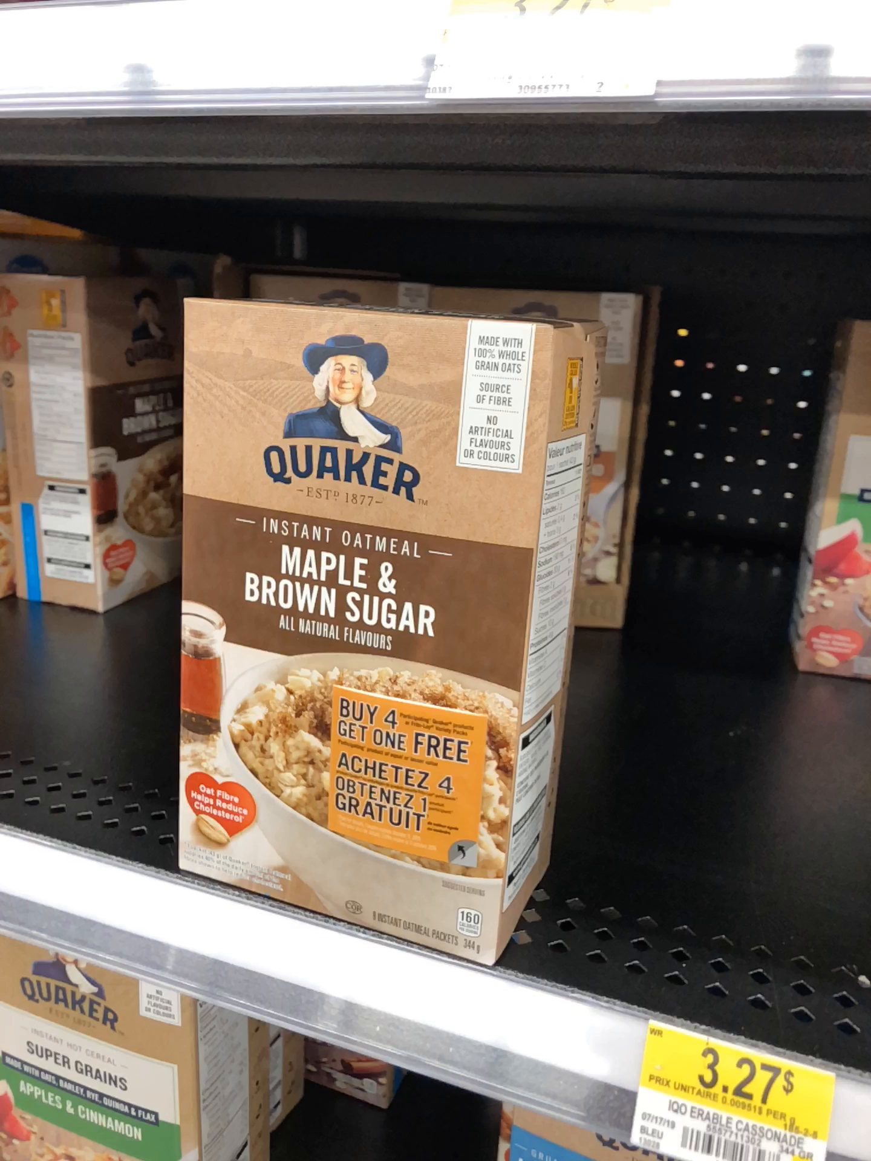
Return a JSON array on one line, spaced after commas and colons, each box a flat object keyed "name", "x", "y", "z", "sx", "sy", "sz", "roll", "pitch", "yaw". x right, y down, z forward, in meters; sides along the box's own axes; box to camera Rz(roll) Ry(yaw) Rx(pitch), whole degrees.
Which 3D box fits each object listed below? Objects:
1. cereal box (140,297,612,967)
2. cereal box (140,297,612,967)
[{"name": "cereal box", "x": -0.022, "y": 0.009, "z": 0.318, "sx": 0.130, "sy": 0.189, "sz": 0.060, "roll": 9, "pitch": 17, "yaw": 21}, {"name": "cereal box", "x": -0.022, "y": 0.009, "z": 0.318, "sx": 0.130, "sy": 0.189, "sz": 0.060, "roll": 9, "pitch": 17, "yaw": 21}]
